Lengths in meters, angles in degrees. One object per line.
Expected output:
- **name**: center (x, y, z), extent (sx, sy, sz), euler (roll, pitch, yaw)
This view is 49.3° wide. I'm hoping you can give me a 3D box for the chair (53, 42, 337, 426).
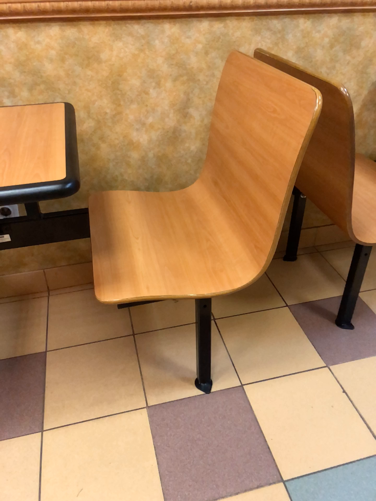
- **chair**: center (-0.041, -0.076, 1.218), extent (0.510, 0.884, 0.634), euler (-7, 35, -11)
